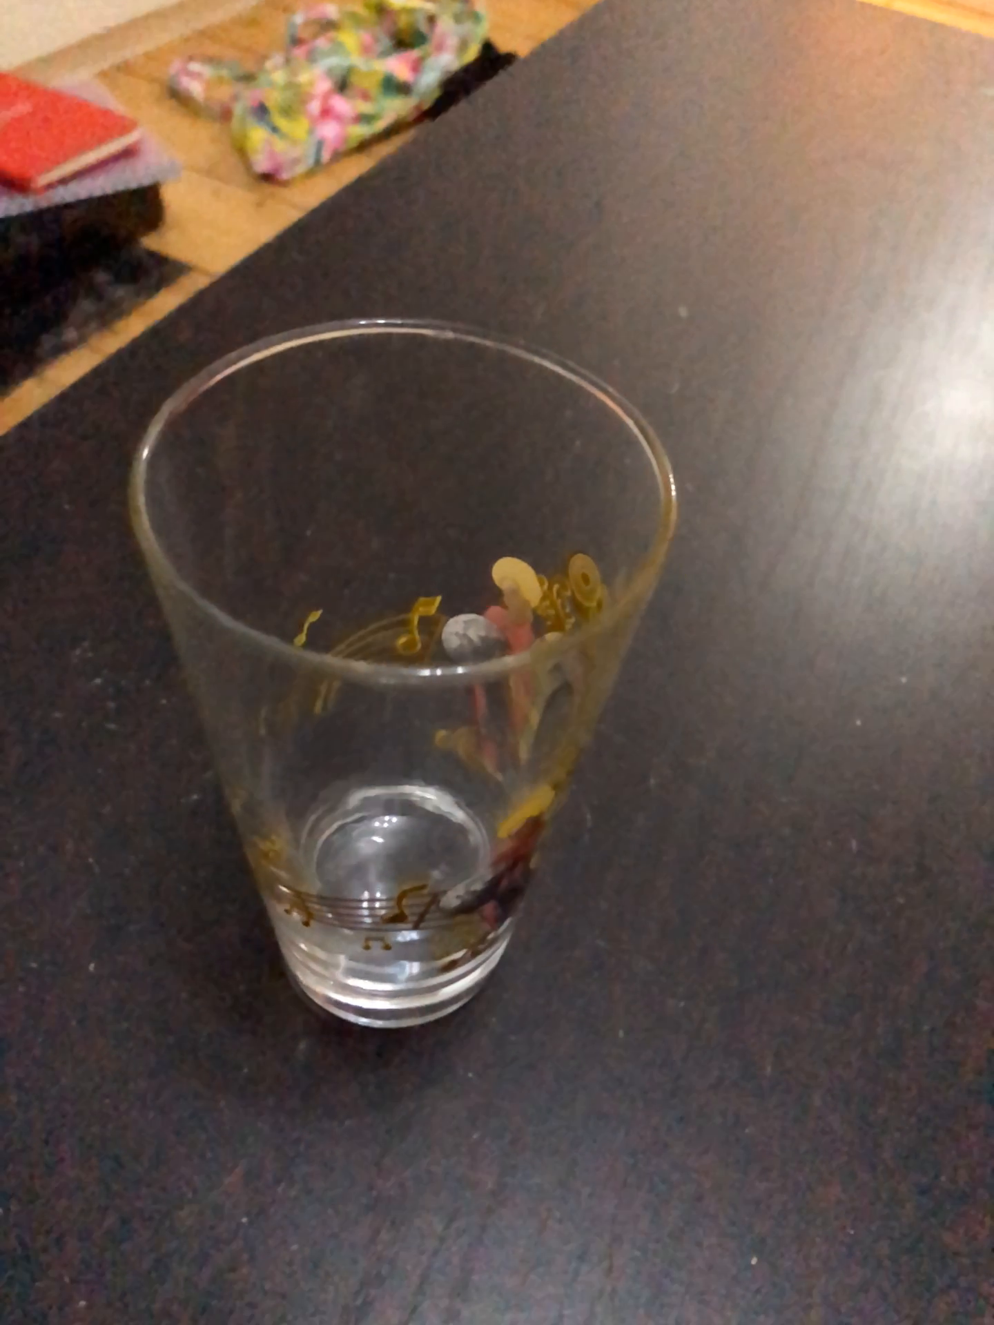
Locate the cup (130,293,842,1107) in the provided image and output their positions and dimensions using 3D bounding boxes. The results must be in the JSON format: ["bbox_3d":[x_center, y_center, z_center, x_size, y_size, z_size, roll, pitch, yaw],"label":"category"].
[{"bbox_3d":[-0.011,0.009,0.194,0.080,0.109,0.080,4,49,-4],"label":"cup"}]
